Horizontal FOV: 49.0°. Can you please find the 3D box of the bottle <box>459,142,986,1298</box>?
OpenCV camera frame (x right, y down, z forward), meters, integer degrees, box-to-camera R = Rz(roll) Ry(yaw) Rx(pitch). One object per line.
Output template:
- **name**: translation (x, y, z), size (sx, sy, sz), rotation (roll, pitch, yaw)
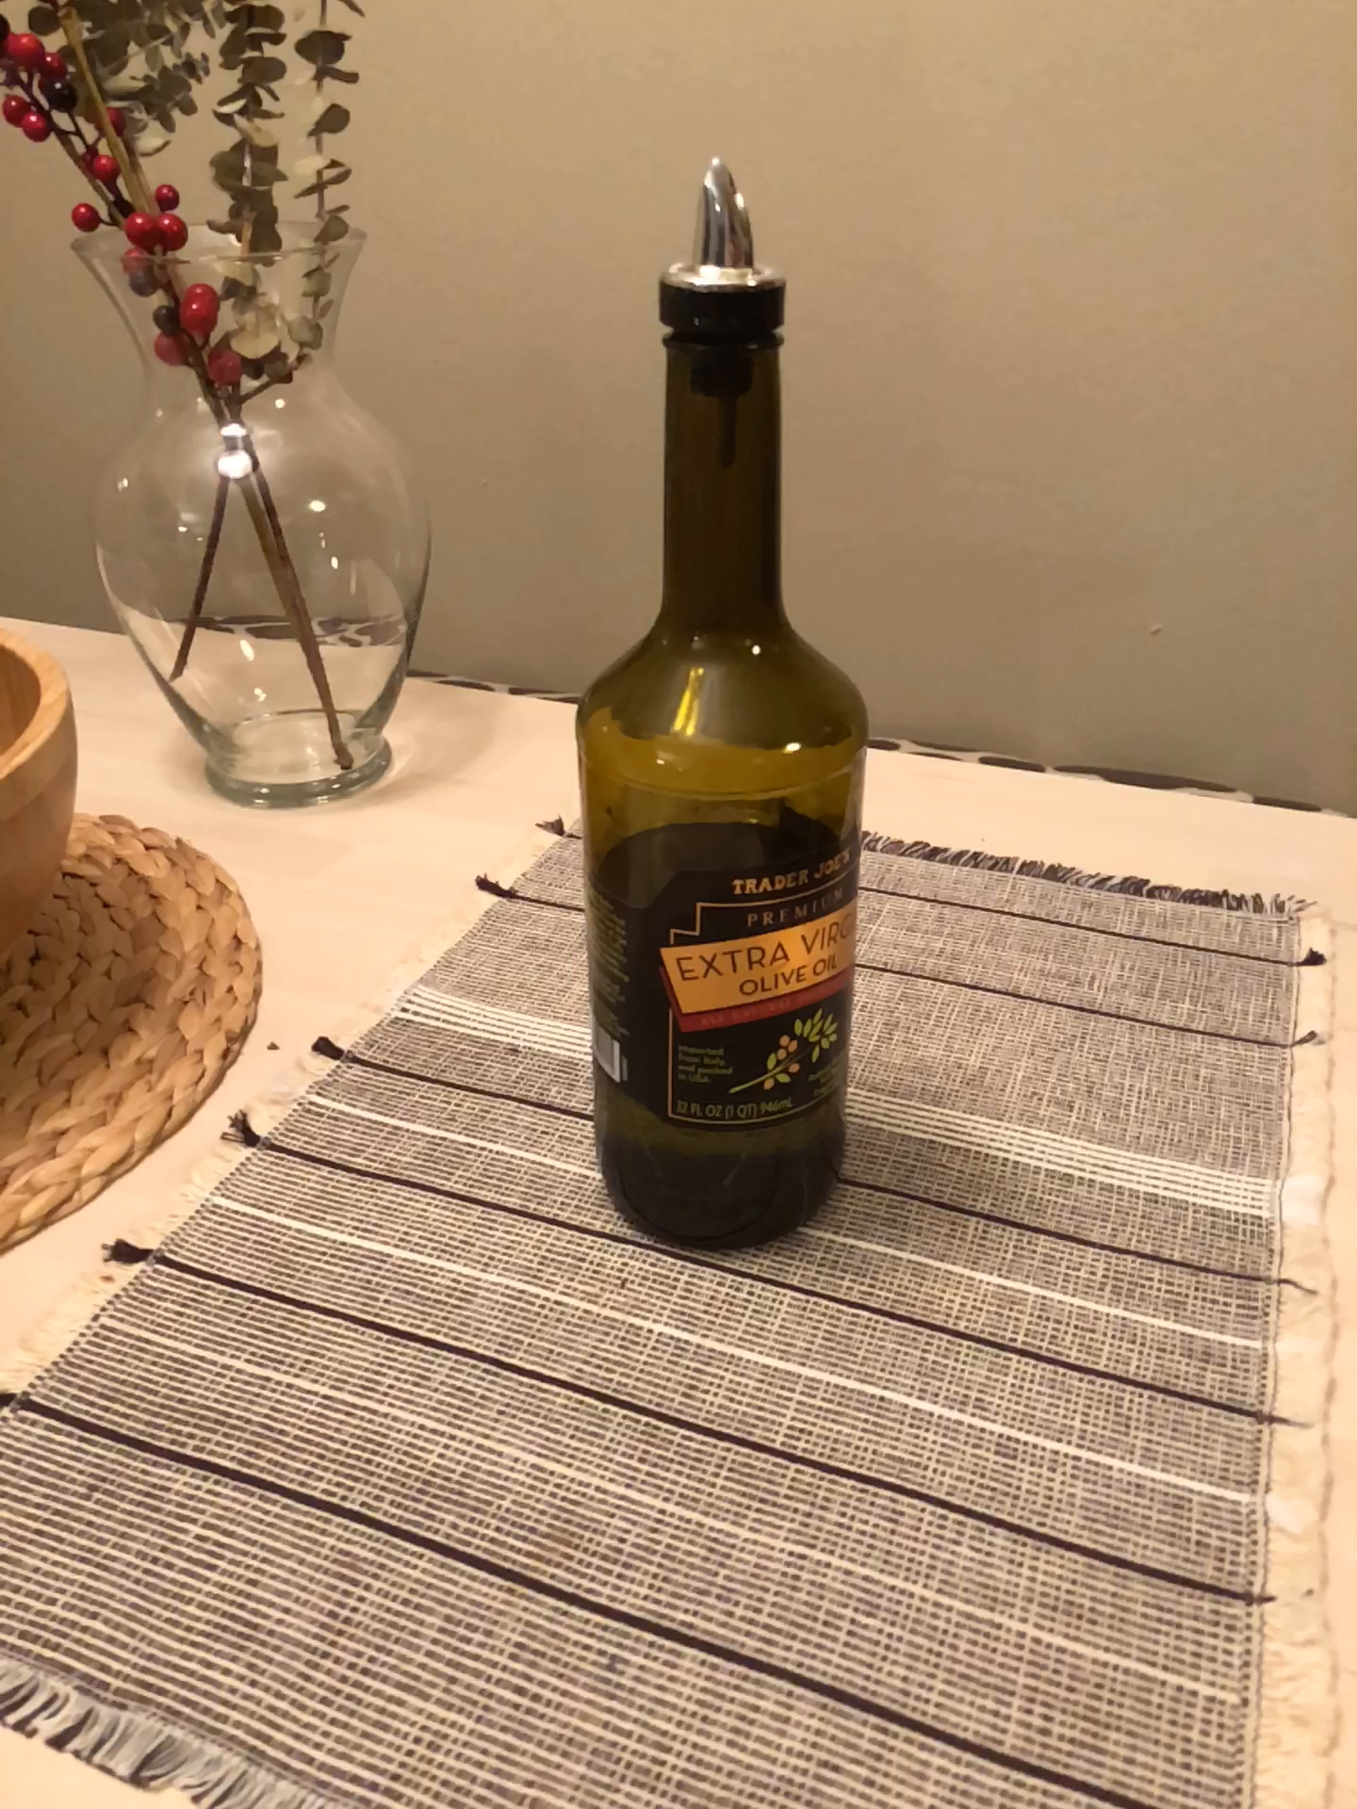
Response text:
- **bottle**: translation (0.010, -0.046, 0.429), size (0.091, 0.304, 0.095), rotation (-1, 29, 0)
